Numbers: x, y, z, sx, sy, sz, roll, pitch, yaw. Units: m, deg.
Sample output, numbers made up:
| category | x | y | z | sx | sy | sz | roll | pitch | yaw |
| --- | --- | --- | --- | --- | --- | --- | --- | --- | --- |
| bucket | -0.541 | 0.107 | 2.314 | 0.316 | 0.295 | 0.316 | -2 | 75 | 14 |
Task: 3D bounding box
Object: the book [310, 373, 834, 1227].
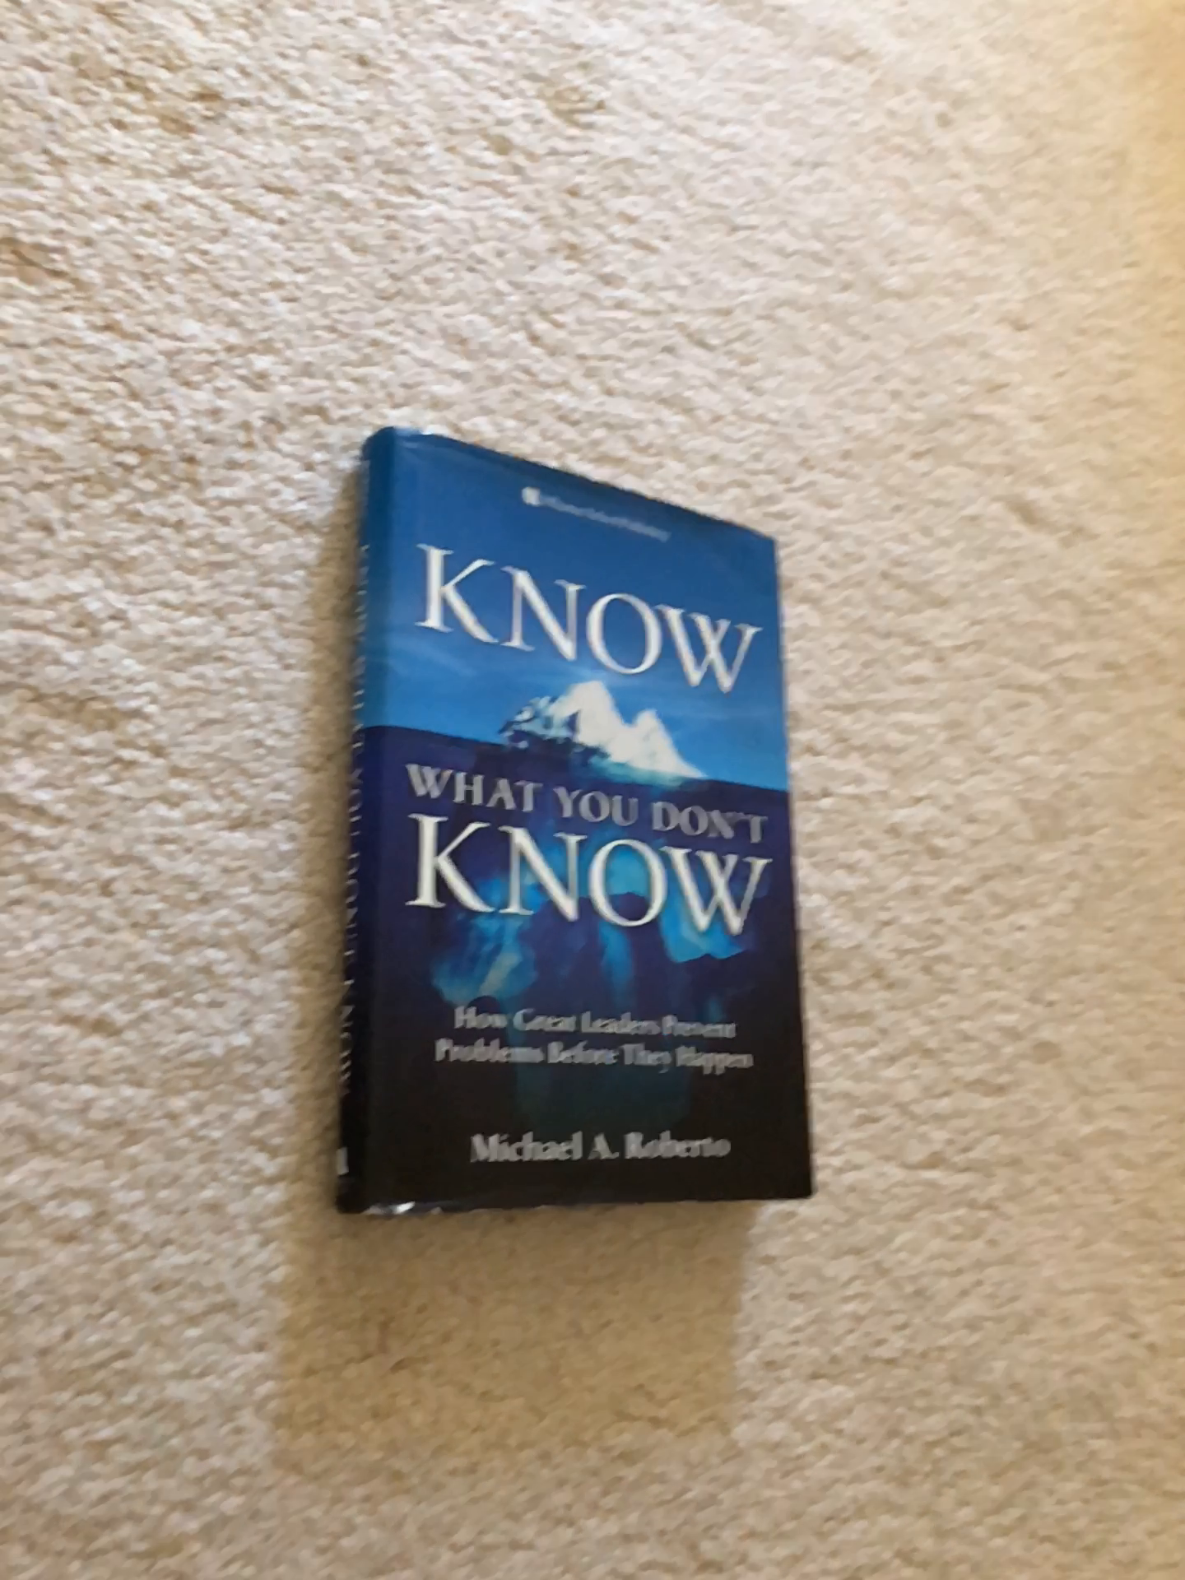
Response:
| category | x | y | z | sx | sy | sz | roll | pitch | yaw |
| --- | --- | --- | --- | --- | --- | --- | --- | --- | --- |
| book | -0.002 | 0.006 | 0.414 | 0.161 | 0.034 | 0.240 | 9 | 73 | -33 |
